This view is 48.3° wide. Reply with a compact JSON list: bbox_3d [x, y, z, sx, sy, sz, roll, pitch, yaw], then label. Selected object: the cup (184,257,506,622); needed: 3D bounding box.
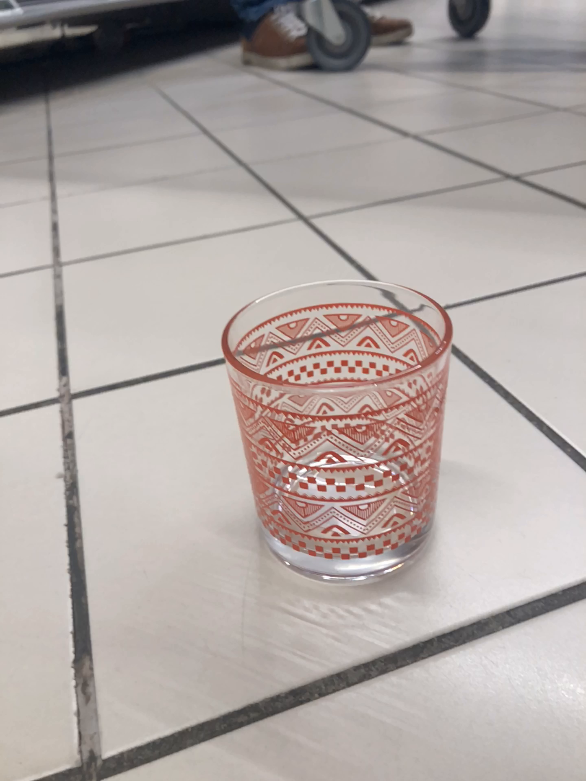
[{"bbox_3d":[0.013,0.011,0.229,0.078,0.078,0.084,-4,33,3],"label":"cup"}]
